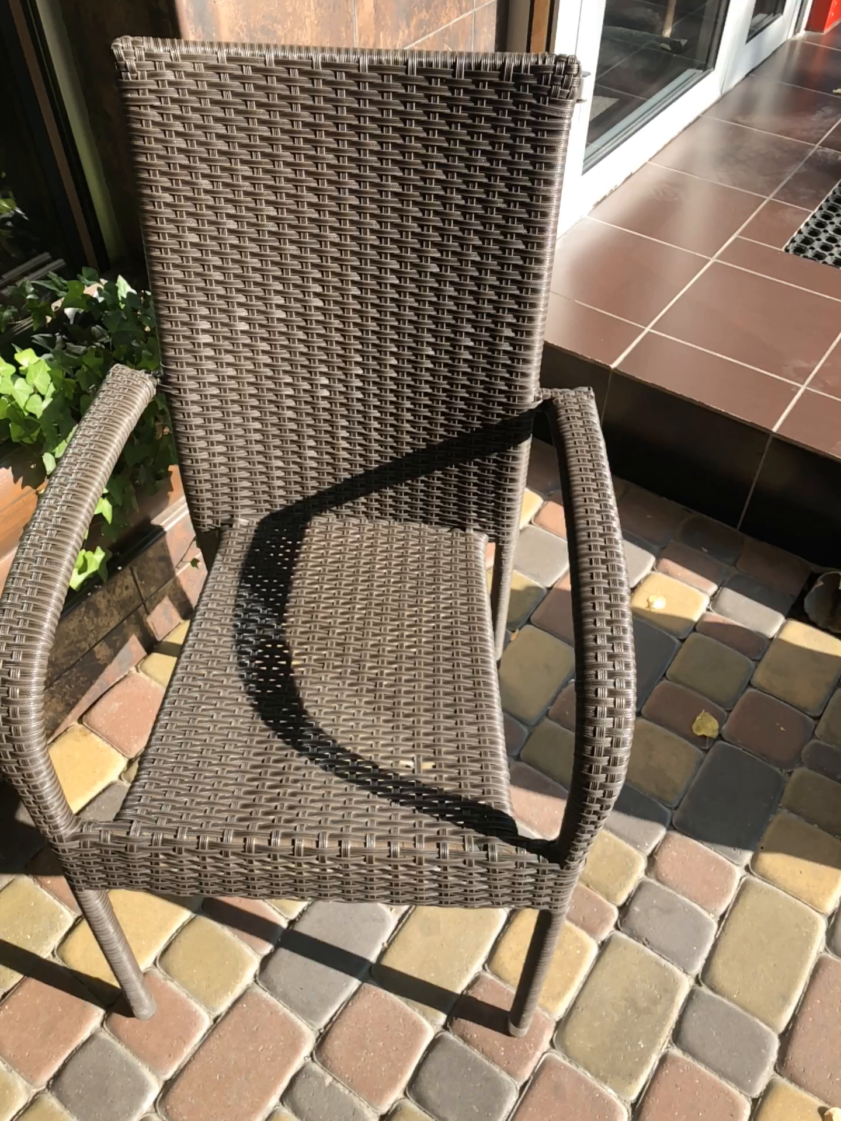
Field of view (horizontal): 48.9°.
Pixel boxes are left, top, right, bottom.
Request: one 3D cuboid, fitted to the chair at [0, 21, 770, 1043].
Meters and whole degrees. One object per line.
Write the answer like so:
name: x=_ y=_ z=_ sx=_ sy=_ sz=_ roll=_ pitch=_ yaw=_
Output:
chair: x=-0.092 y=0.037 z=0.927 sx=0.520 sy=0.847 sz=0.582 roll=3 pitch=49 yaw=2
